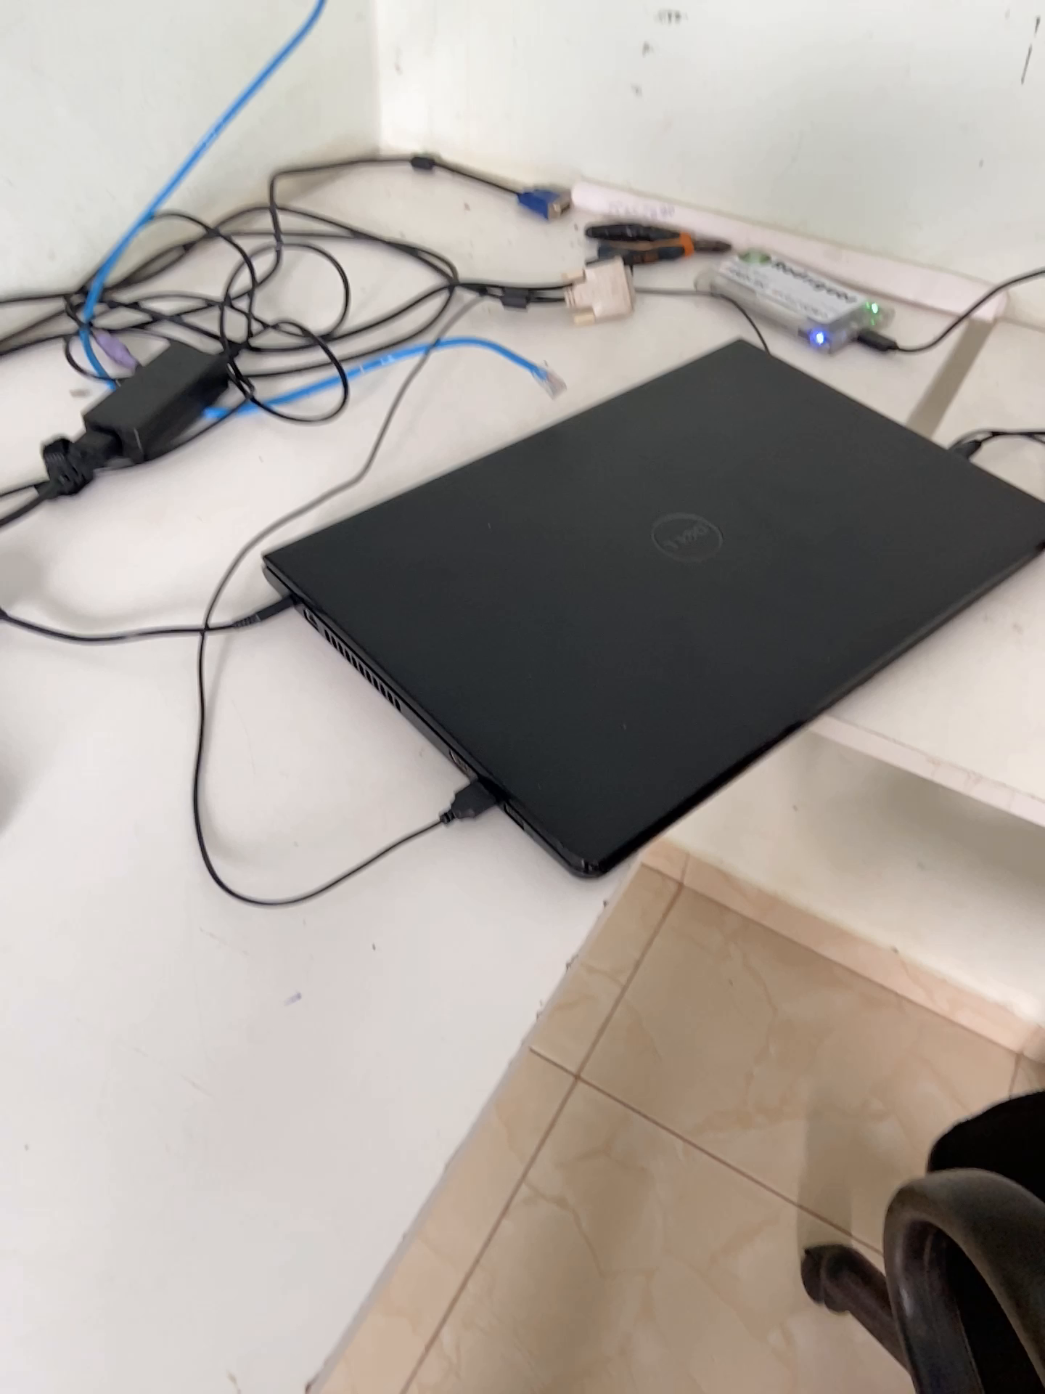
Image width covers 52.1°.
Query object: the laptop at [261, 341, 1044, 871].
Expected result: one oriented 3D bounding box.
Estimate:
[{"bbox_3d":[0.085,-0.089,0.592,0.377,0.003,0.260,-31,54,-28],"label":"laptop"}]
